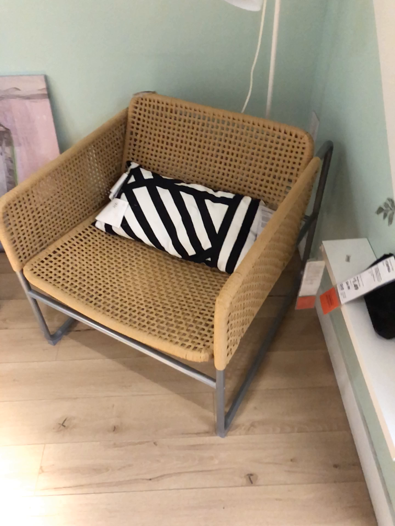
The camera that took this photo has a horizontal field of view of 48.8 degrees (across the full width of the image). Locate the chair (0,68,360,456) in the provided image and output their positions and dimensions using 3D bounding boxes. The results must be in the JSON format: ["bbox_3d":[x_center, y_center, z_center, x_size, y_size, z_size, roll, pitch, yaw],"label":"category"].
[{"bbox_3d":[-0.077,-0.070,1.318,0.790,0.628,0.752,21,49,21],"label":"chair"}]
